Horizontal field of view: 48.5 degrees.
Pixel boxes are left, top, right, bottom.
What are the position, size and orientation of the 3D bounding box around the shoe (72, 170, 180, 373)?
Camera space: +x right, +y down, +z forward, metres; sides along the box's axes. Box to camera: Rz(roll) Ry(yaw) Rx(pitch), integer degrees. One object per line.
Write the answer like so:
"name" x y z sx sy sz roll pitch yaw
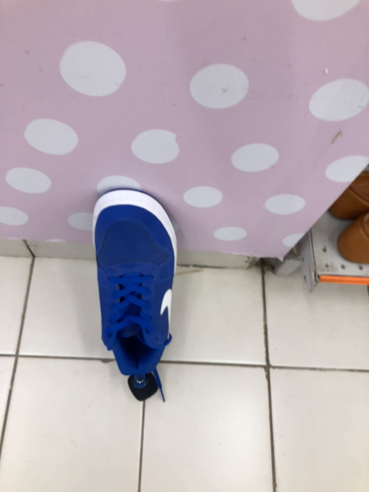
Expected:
"shoe" -0.064 0.048 0.541 0.110 0.289 0.080 0 39 -2
